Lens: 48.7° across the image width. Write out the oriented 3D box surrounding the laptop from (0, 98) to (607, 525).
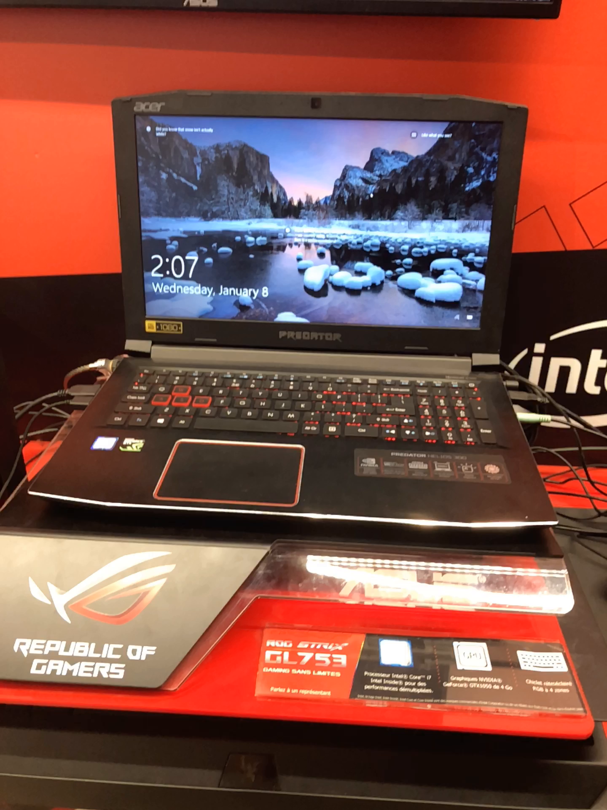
[{"bbox_3d":[0.002,-0.105,0.557,0.385,0.240,0.295,3,29,4],"label":"laptop"}]
